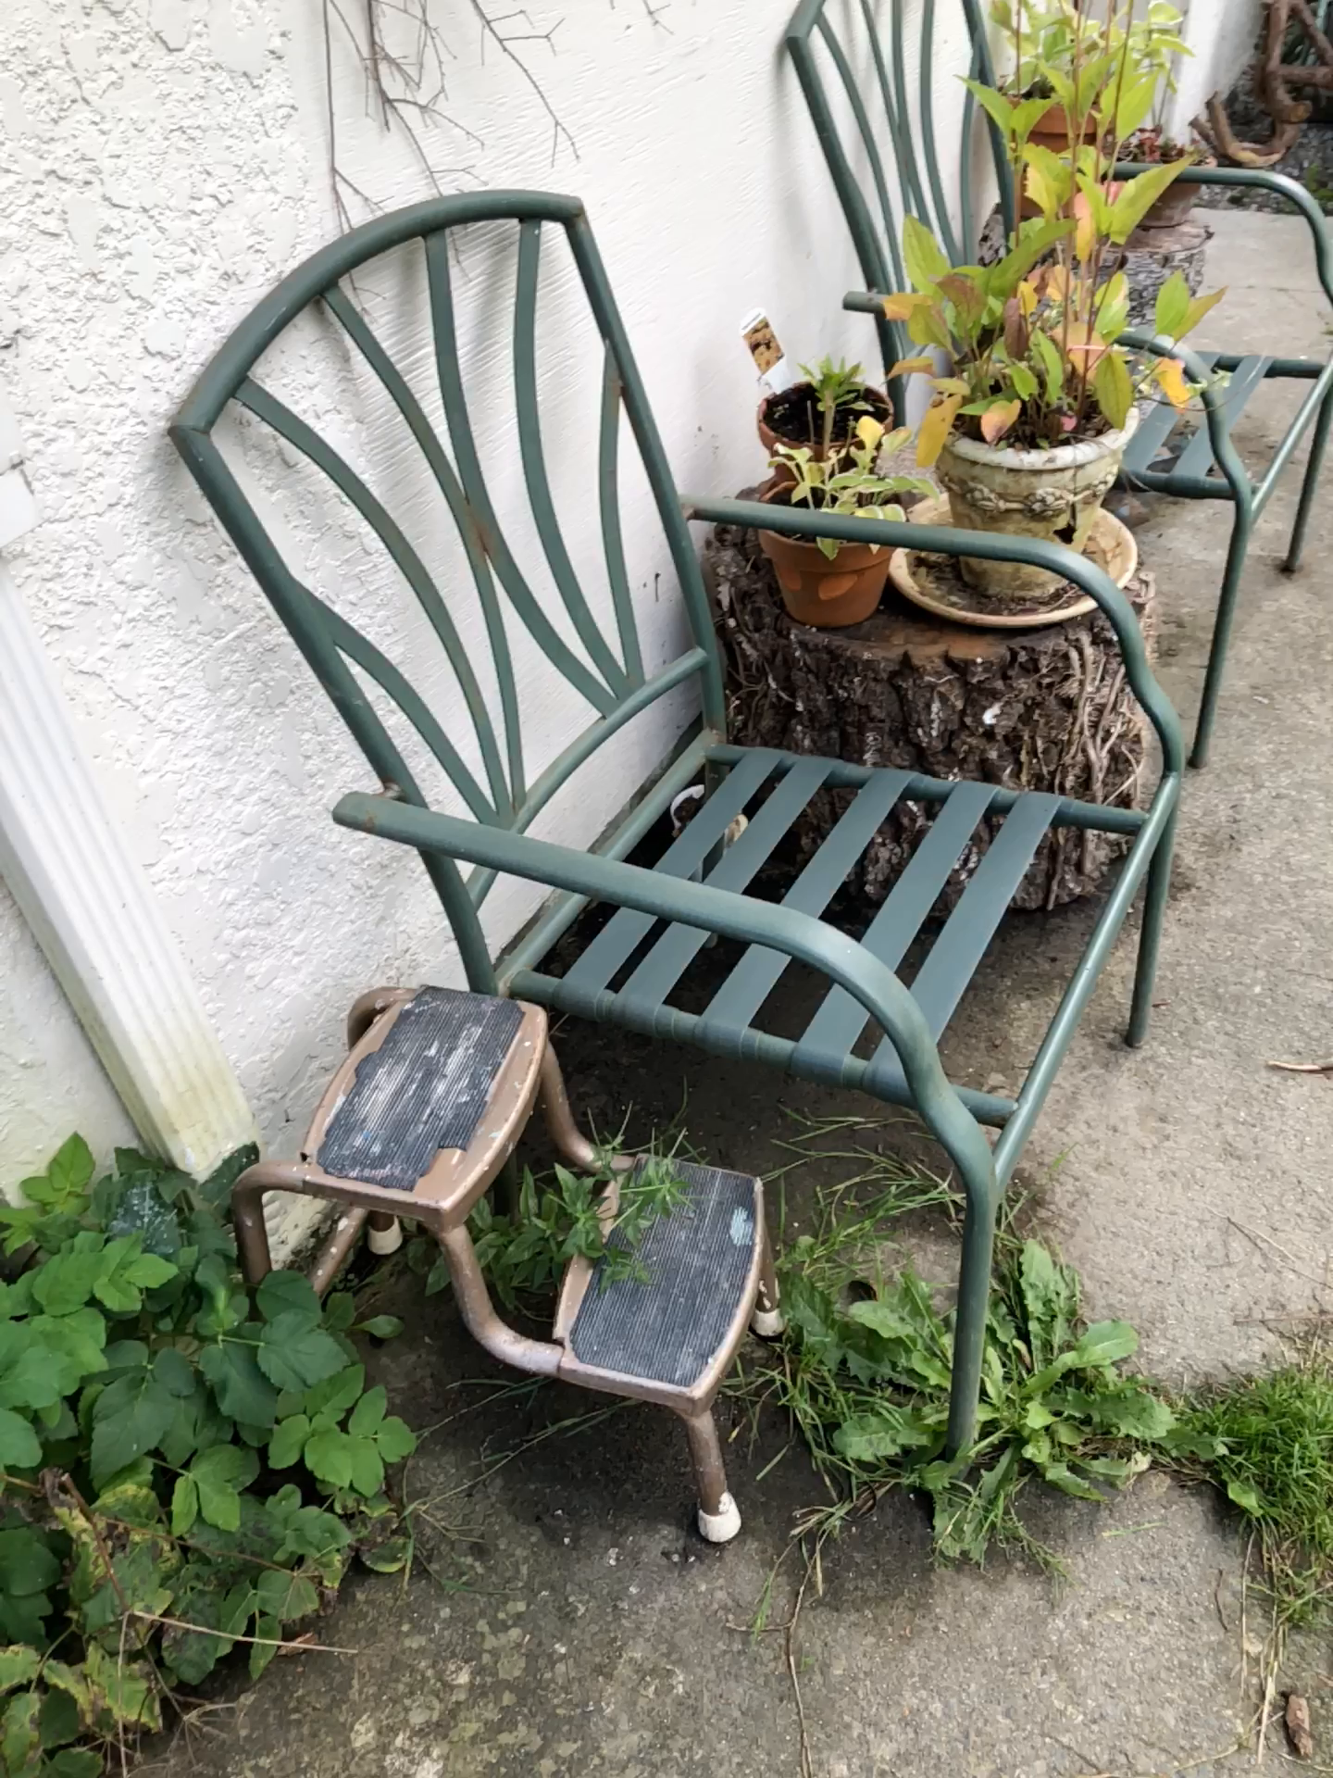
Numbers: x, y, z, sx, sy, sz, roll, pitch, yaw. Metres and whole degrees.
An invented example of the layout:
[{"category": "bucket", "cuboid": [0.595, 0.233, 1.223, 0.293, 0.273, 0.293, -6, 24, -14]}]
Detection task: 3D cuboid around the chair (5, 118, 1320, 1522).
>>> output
[{"category": "chair", "cuboid": [0.060, -0.080, 1.274, 0.681, 0.904, 0.623, 16, 45, 23]}]
